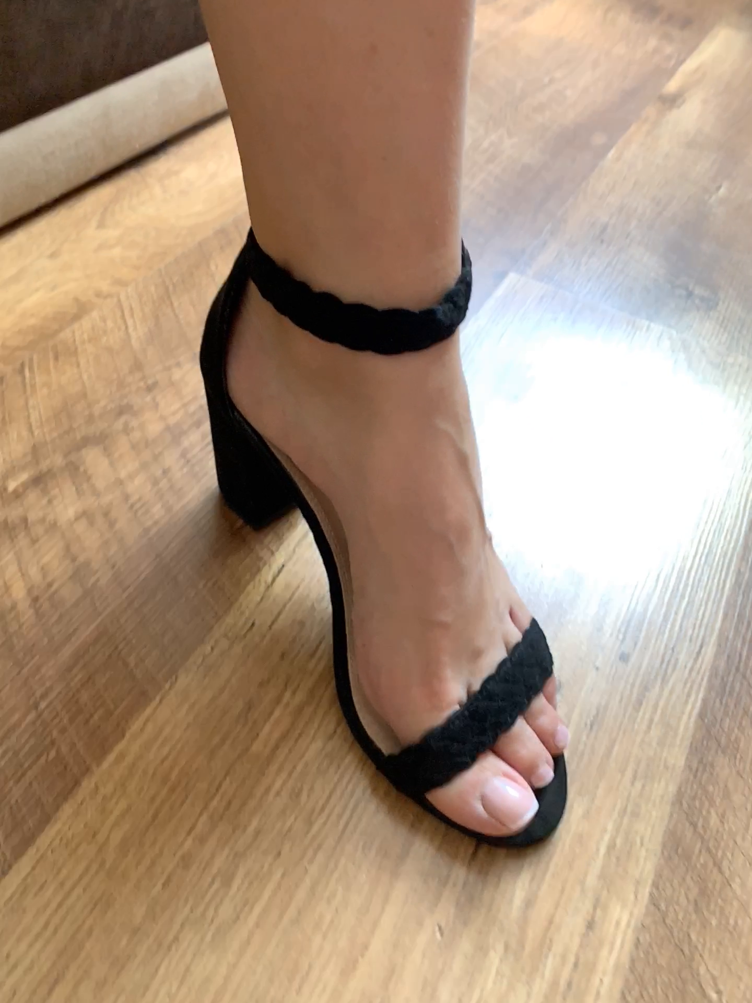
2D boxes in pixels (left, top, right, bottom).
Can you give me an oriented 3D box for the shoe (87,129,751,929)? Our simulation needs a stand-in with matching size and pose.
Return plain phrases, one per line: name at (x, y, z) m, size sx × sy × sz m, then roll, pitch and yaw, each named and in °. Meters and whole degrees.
shoe at (0.000, -0.002, 0.276) m, size 0.090 × 0.149 × 0.231 m, roll -25°, pitch 55°, yaw -26°
